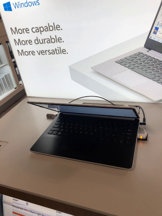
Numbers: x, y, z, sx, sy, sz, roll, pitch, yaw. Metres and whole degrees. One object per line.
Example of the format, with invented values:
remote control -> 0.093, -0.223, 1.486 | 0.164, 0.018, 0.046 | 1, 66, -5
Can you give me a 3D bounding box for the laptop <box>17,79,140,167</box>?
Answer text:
laptop -> 0.015, 0.021, 0.557 | 0.303, 0.155, 0.225 | 3, 30, 23
